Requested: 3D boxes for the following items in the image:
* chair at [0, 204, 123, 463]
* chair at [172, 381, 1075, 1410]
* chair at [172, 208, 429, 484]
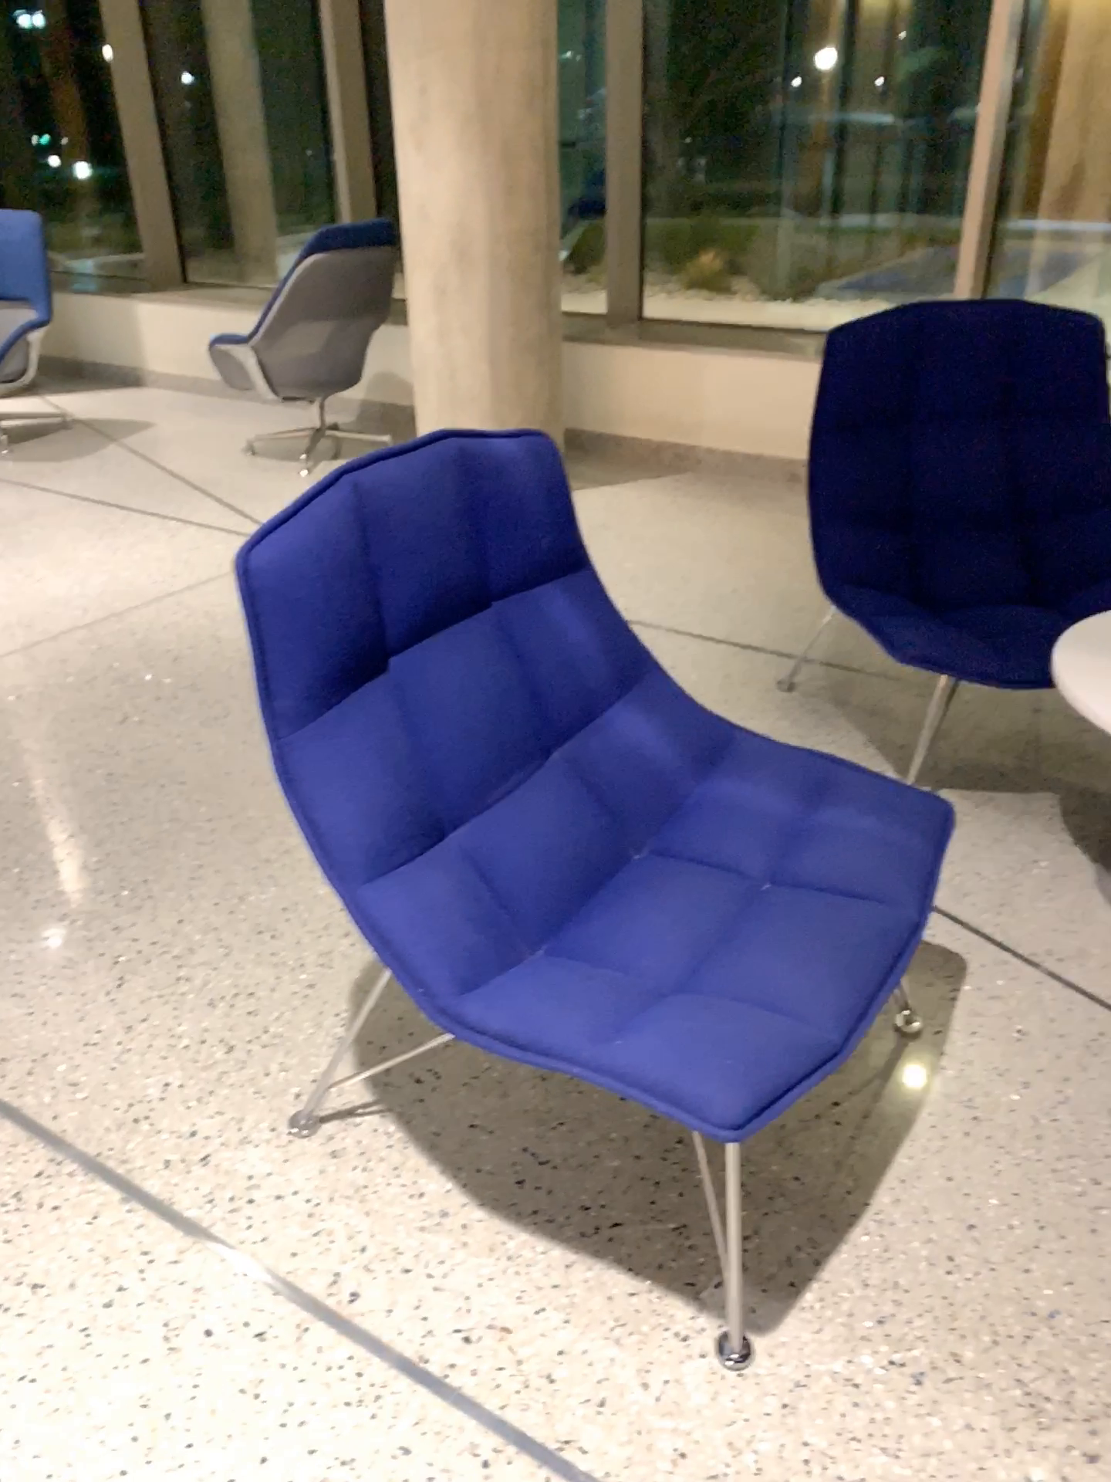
[{"bbox_3d":[-2.626,-1.872,5.195,0.780,0.972,0.766,8,29,16],"label":"chair"},{"bbox_3d":[0.134,0.093,1.584,0.781,0.933,0.813,16,33,29],"label":"chair"},{"bbox_3d":[-1.074,-1.728,4.937,0.772,0.962,0.643,22,36,34],"label":"chair"}]
